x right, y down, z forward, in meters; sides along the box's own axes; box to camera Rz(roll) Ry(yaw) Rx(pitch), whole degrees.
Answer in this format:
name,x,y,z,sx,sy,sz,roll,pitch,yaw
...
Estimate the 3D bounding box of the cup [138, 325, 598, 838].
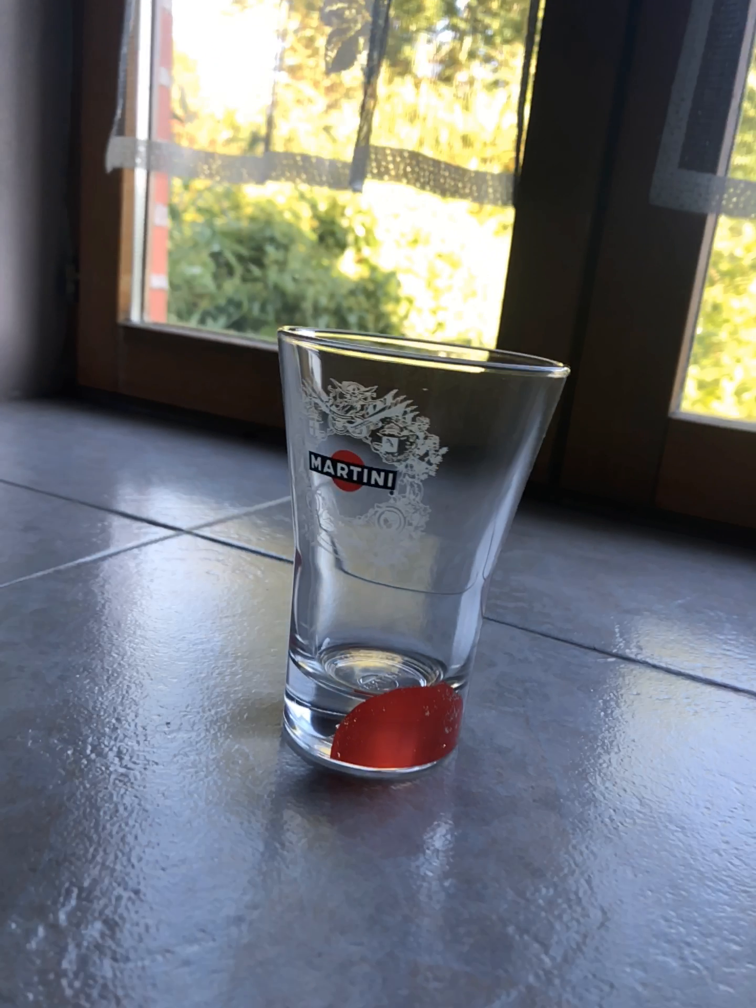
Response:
name,x,y,z,sx,sy,sz,roll,pitch,yaw
cup,-0.004,0.010,0.260,0.095,0.116,0.093,6,15,-2
